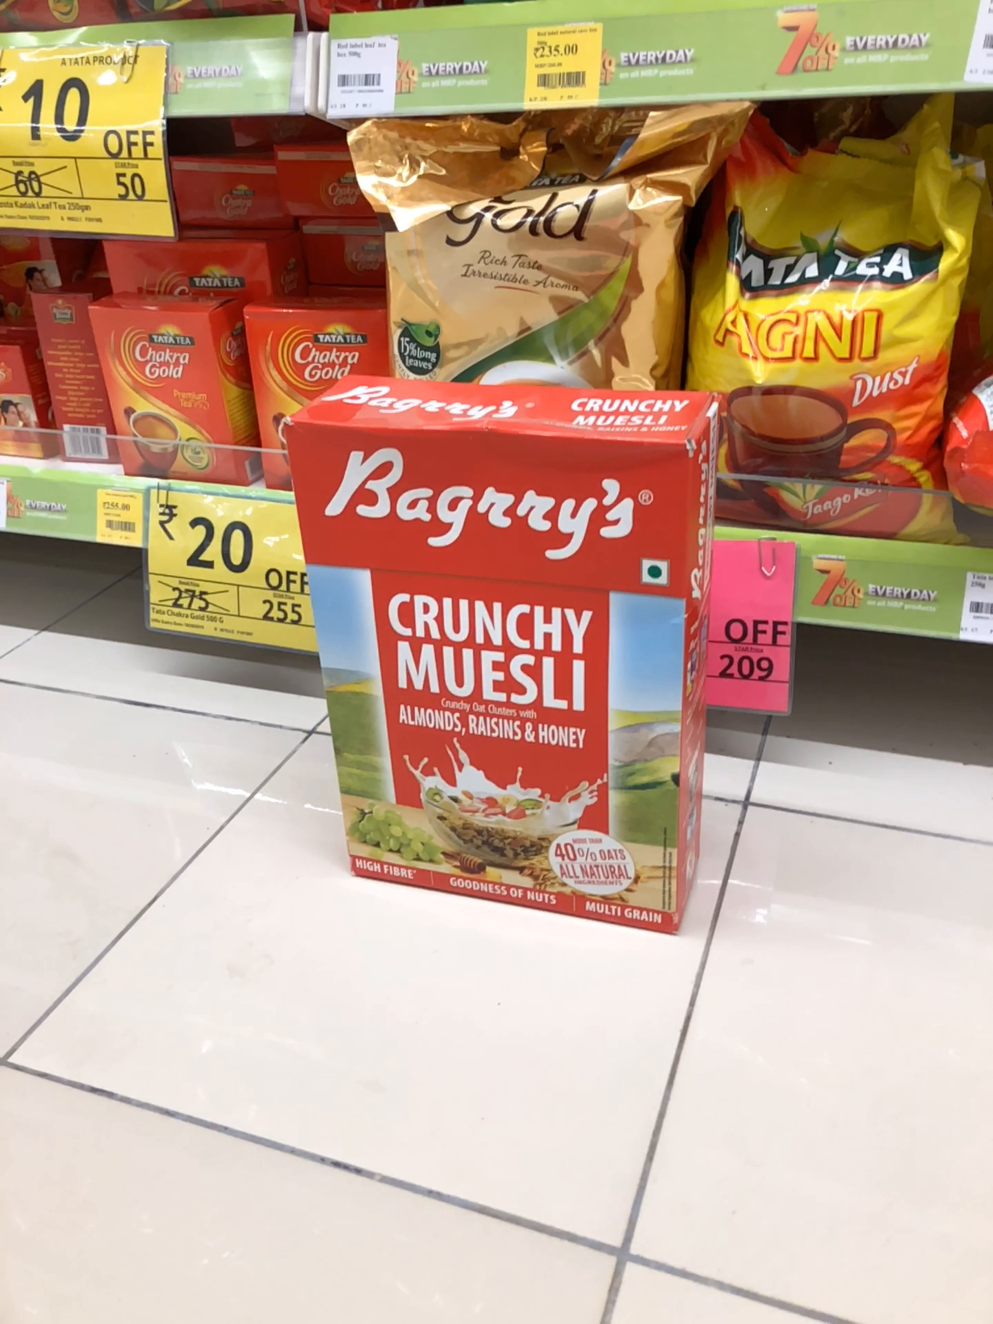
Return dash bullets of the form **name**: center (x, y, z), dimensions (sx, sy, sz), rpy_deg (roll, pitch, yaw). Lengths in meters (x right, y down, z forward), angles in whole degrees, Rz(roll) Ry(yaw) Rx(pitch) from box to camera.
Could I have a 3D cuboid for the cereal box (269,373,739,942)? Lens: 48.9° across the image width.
- **cereal box**: center (0.011, -0.001, 0.557), dimensions (0.200, 0.268, 0.070), rpy_deg (6, 31, 17)
